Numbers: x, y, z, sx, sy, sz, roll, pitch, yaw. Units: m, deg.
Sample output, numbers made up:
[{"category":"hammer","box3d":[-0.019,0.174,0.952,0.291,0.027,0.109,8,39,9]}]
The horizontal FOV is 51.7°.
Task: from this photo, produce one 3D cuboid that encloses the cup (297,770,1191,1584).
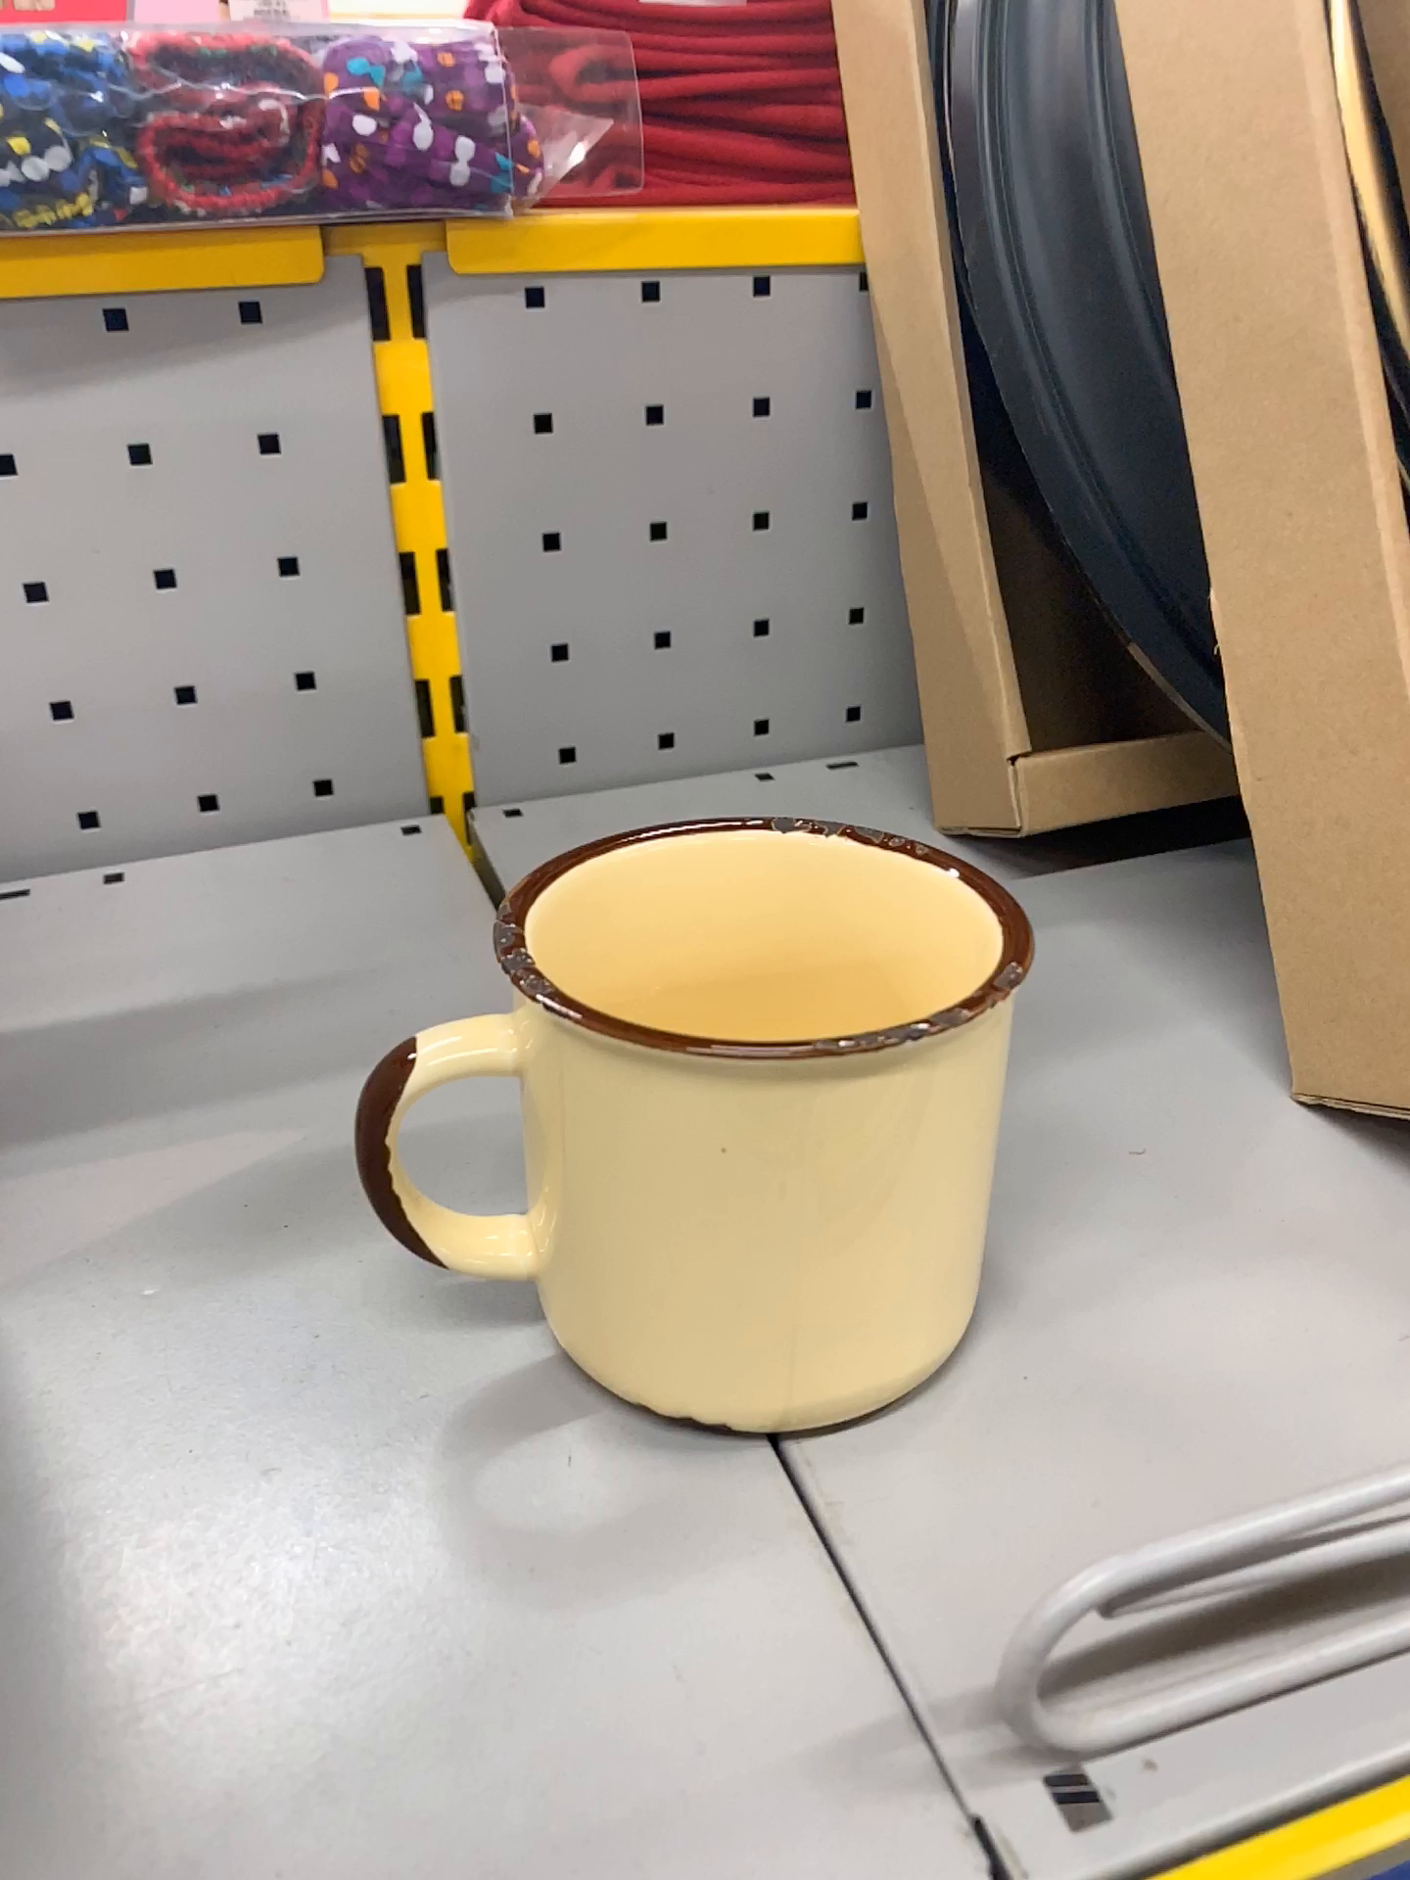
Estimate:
[{"category":"cup","box3d":[-0.001,0.031,0.246,0.120,0.080,0.090,-7,28,-12]}]
